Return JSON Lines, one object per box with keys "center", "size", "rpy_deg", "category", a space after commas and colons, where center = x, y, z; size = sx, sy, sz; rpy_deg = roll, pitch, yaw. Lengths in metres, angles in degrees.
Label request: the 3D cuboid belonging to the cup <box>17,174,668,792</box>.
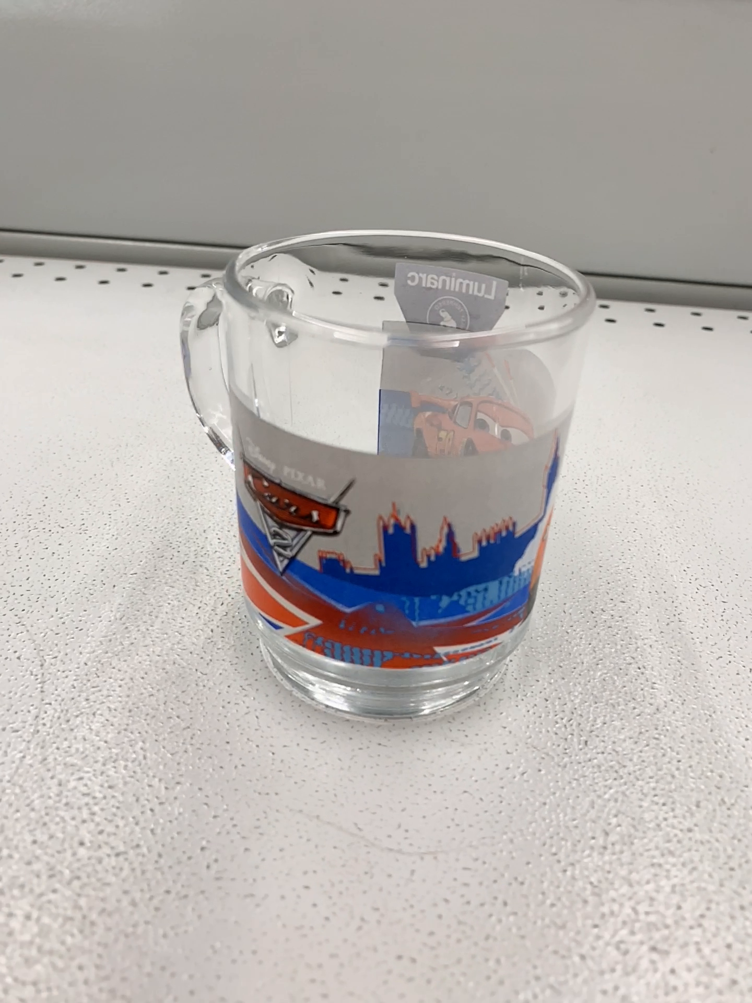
{"center": [-0.010, -0.016, 0.177], "size": [0.108, 0.087, 0.071], "rpy_deg": [24, 37, 31], "category": "cup"}
